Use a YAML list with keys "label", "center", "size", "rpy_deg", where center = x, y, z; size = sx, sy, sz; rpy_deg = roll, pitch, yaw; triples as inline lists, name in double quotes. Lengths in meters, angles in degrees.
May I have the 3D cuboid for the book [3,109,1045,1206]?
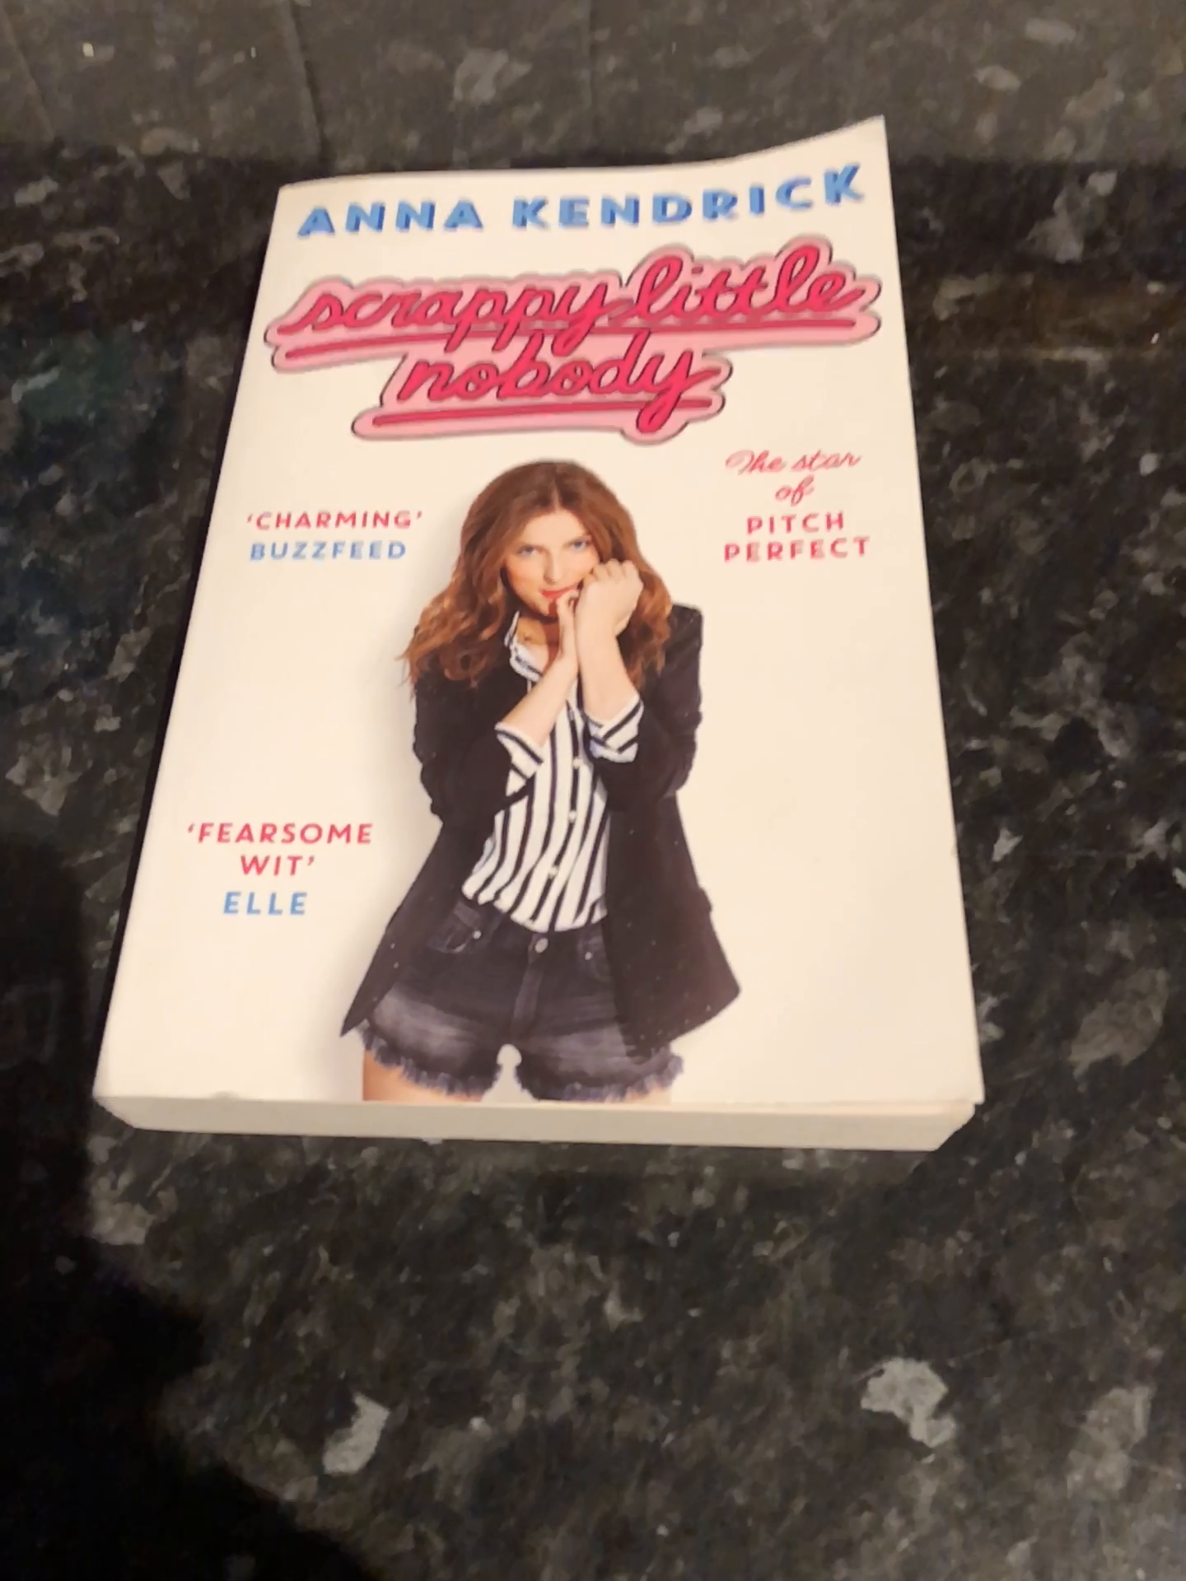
- label: "book"
  center: [-0.006, -0.037, 0.247]
  size: [0.140, 0.050, 0.211]
  rpy_deg: [1, 62, 2]
